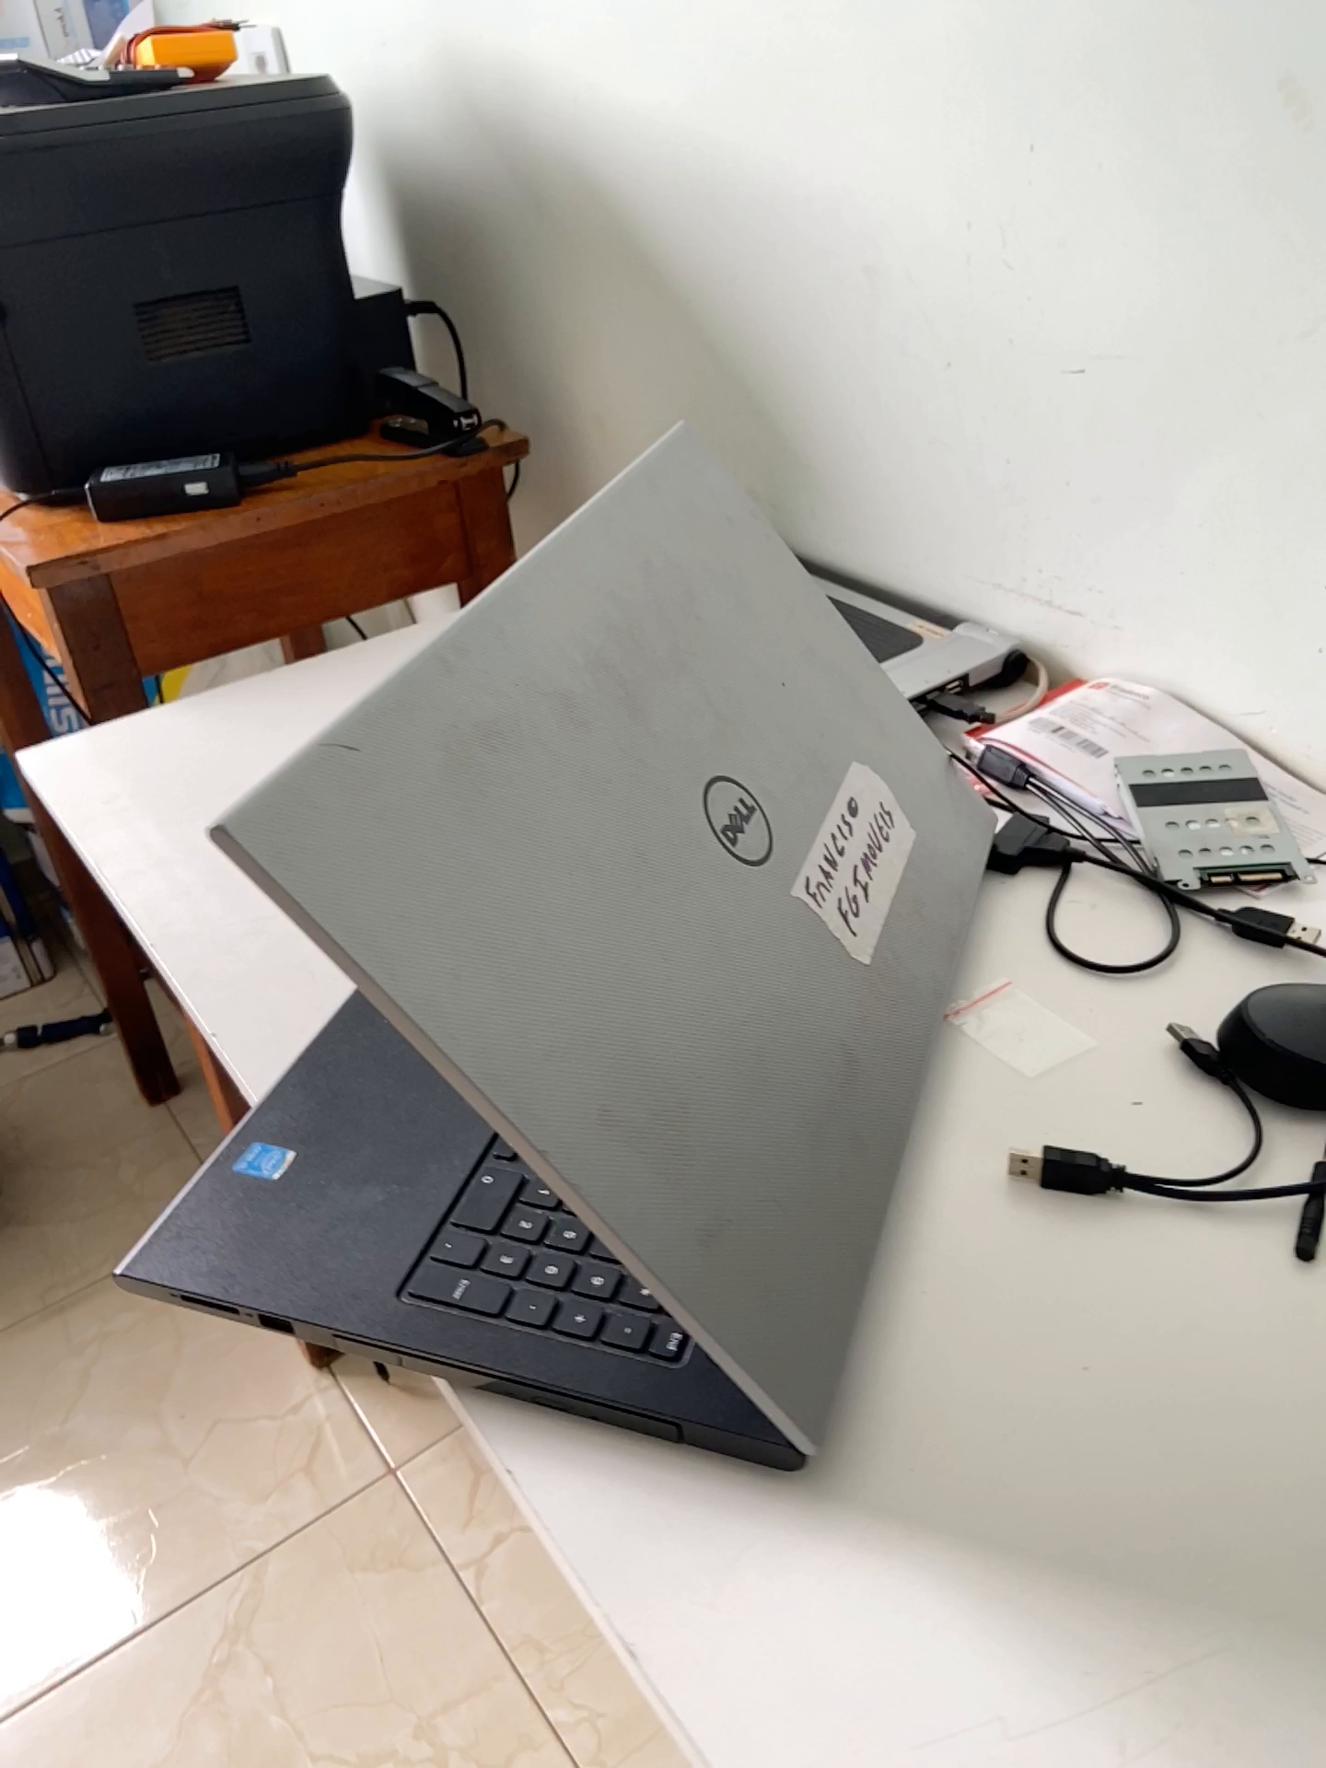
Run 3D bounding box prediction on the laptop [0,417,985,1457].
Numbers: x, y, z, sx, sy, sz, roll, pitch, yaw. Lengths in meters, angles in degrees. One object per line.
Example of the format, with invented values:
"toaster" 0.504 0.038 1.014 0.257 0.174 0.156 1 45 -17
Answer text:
"laptop" -0.030 -0.028 0.555 0.257 0.204 0.376 7 36 19
